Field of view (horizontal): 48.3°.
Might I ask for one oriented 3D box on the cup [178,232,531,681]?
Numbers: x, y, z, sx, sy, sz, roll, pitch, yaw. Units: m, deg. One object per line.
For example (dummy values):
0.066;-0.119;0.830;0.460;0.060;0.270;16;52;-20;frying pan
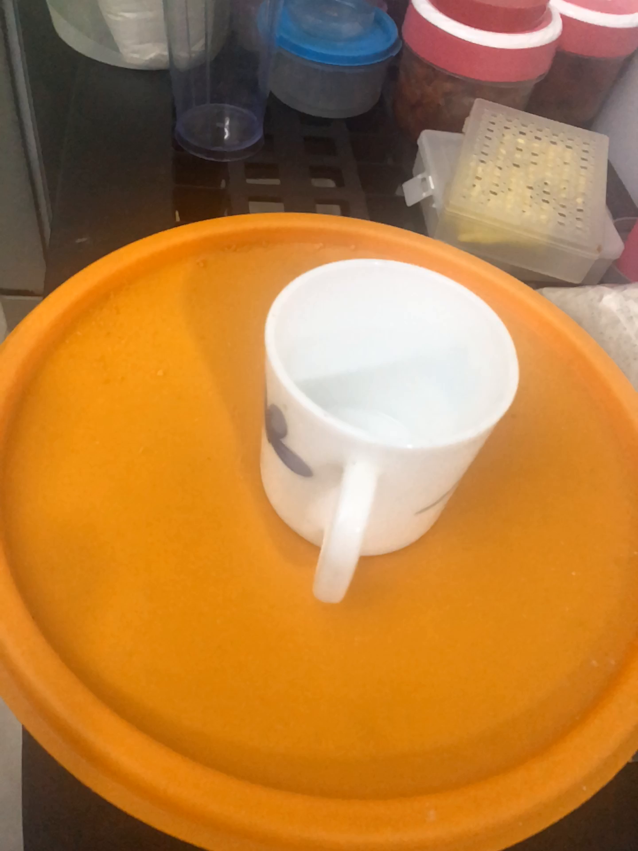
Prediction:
0.012;0.008;0.219;0.080;0.070;0.100;14;52;1;cup
